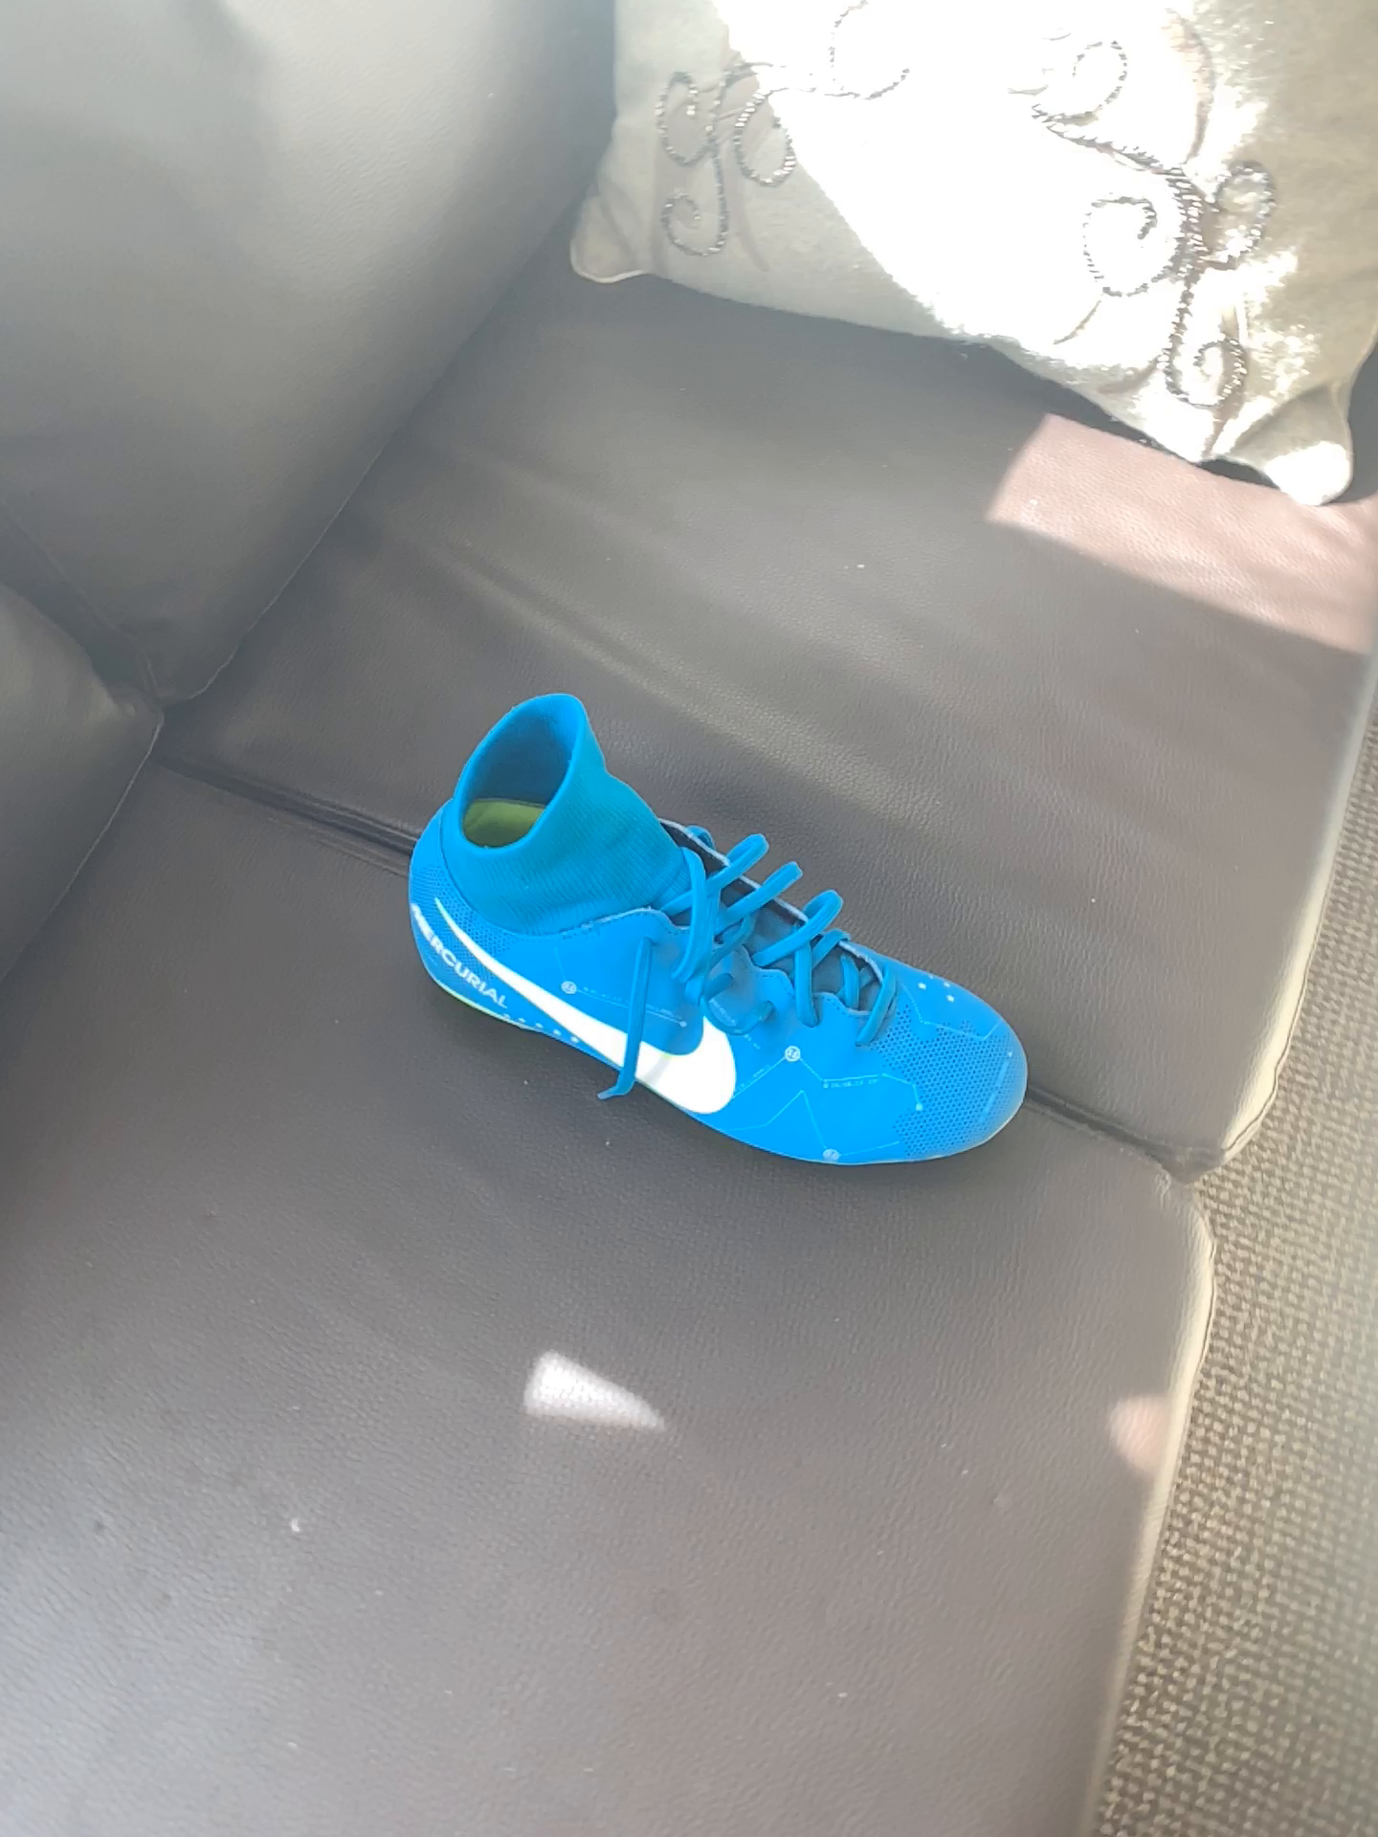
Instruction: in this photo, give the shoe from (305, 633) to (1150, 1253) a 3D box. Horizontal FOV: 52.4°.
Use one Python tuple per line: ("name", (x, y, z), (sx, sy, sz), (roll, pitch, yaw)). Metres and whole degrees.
("shoe", (0.011, 0.012, 0.499), (0.250, 0.119, 0.099), (21, 65, 9))
